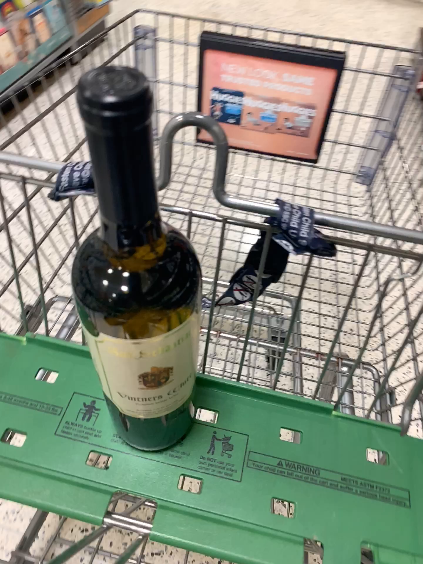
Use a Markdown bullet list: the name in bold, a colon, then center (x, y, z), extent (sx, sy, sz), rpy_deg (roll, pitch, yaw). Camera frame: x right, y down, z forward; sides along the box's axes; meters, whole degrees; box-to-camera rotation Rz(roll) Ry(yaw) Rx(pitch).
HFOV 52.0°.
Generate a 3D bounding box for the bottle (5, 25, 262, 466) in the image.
- **bottle**: center (-0.040, 0.021, 0.274), extent (0.080, 0.307, 0.071), rpy_deg (-10, 52, -13)
